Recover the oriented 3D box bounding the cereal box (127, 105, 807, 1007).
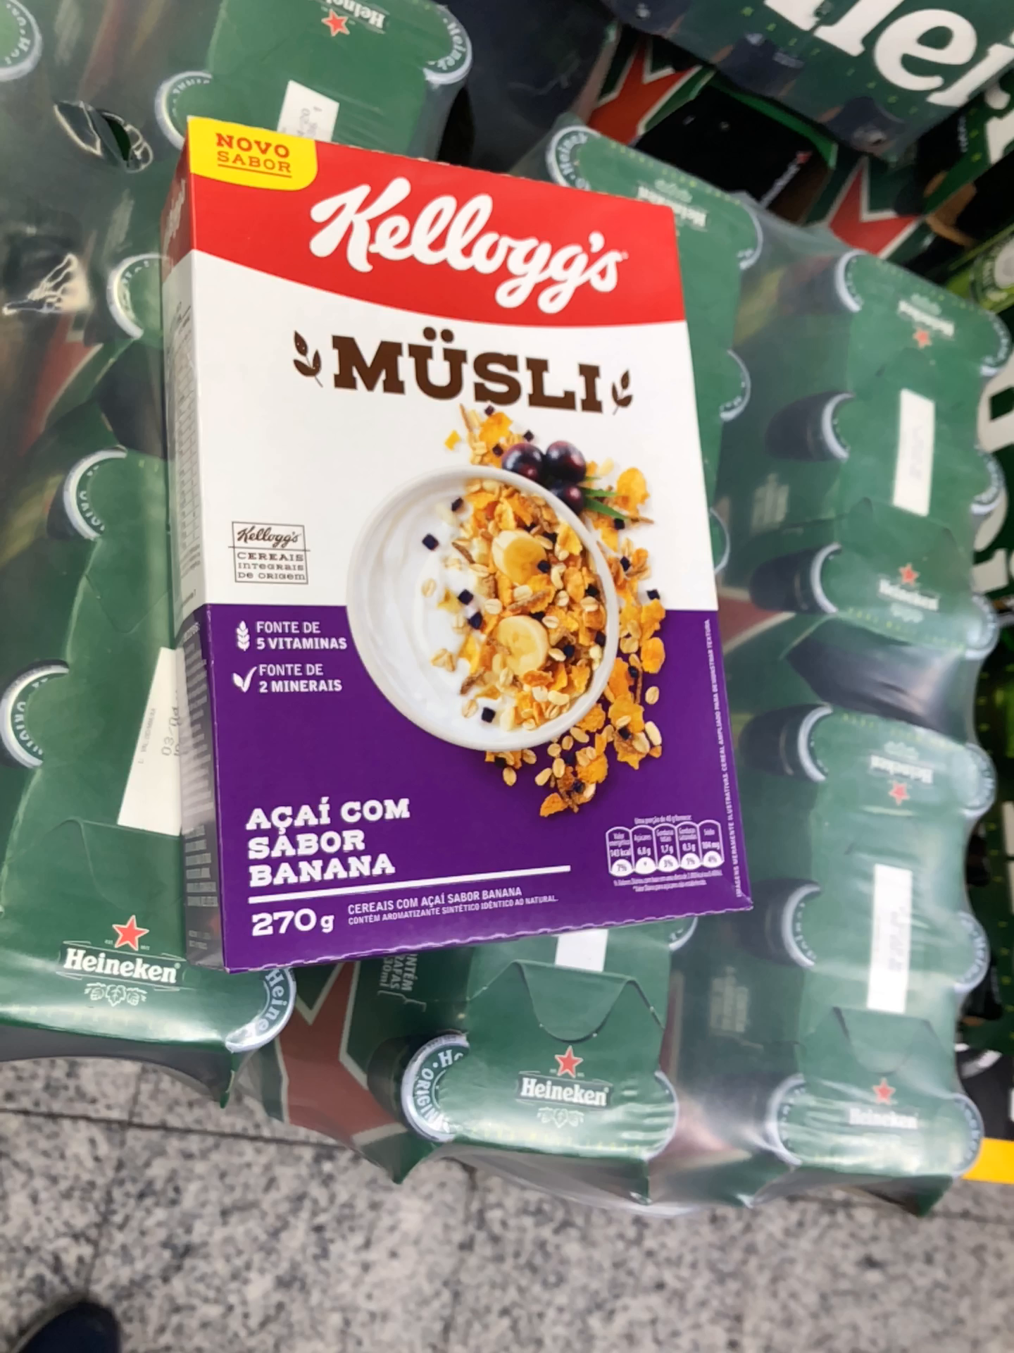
[{"bbox_3d":[-0.010,-0.028,0.281,0.150,0.040,0.190,-1,81,-25],"label":"cereal box"}]
